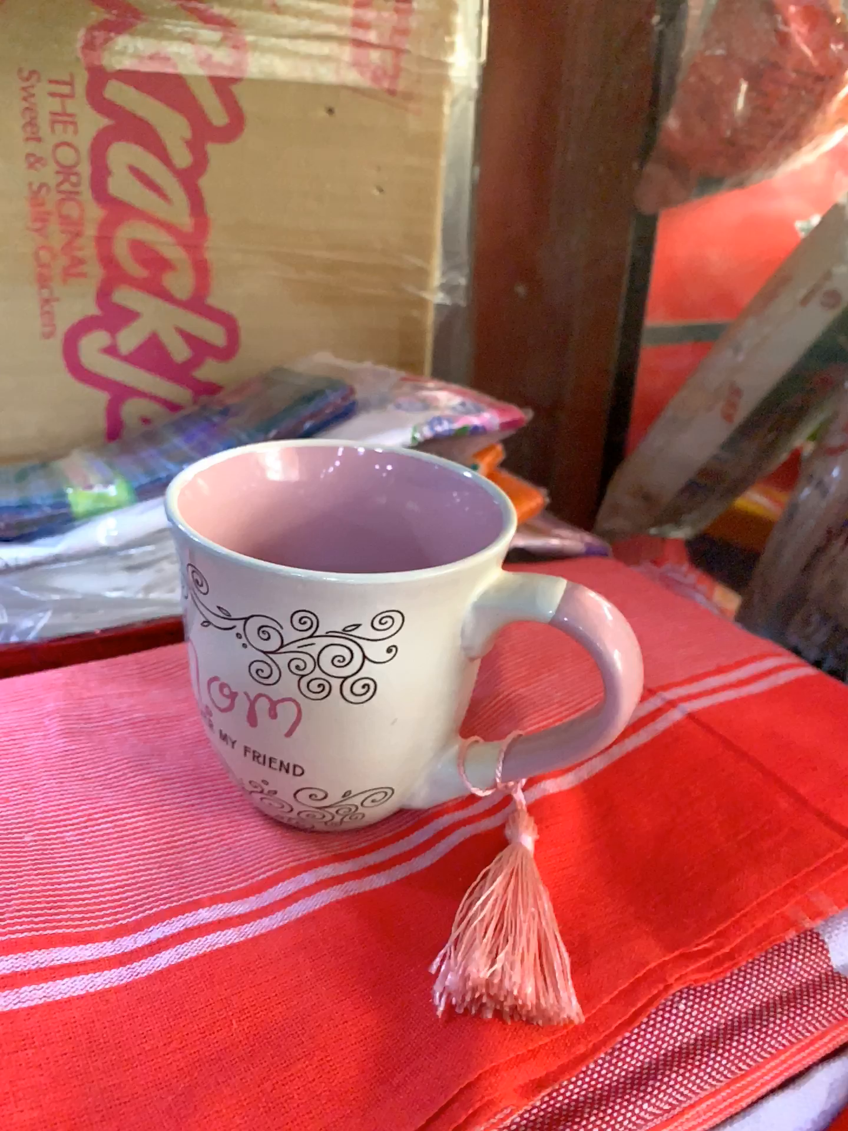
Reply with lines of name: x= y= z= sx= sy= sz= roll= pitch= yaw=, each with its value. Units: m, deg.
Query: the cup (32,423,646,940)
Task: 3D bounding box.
cup: x=-0.016 y=0.019 z=0.234 sx=0.125 sy=0.075 sz=0.086 roll=11 pitch=27 yaw=18
